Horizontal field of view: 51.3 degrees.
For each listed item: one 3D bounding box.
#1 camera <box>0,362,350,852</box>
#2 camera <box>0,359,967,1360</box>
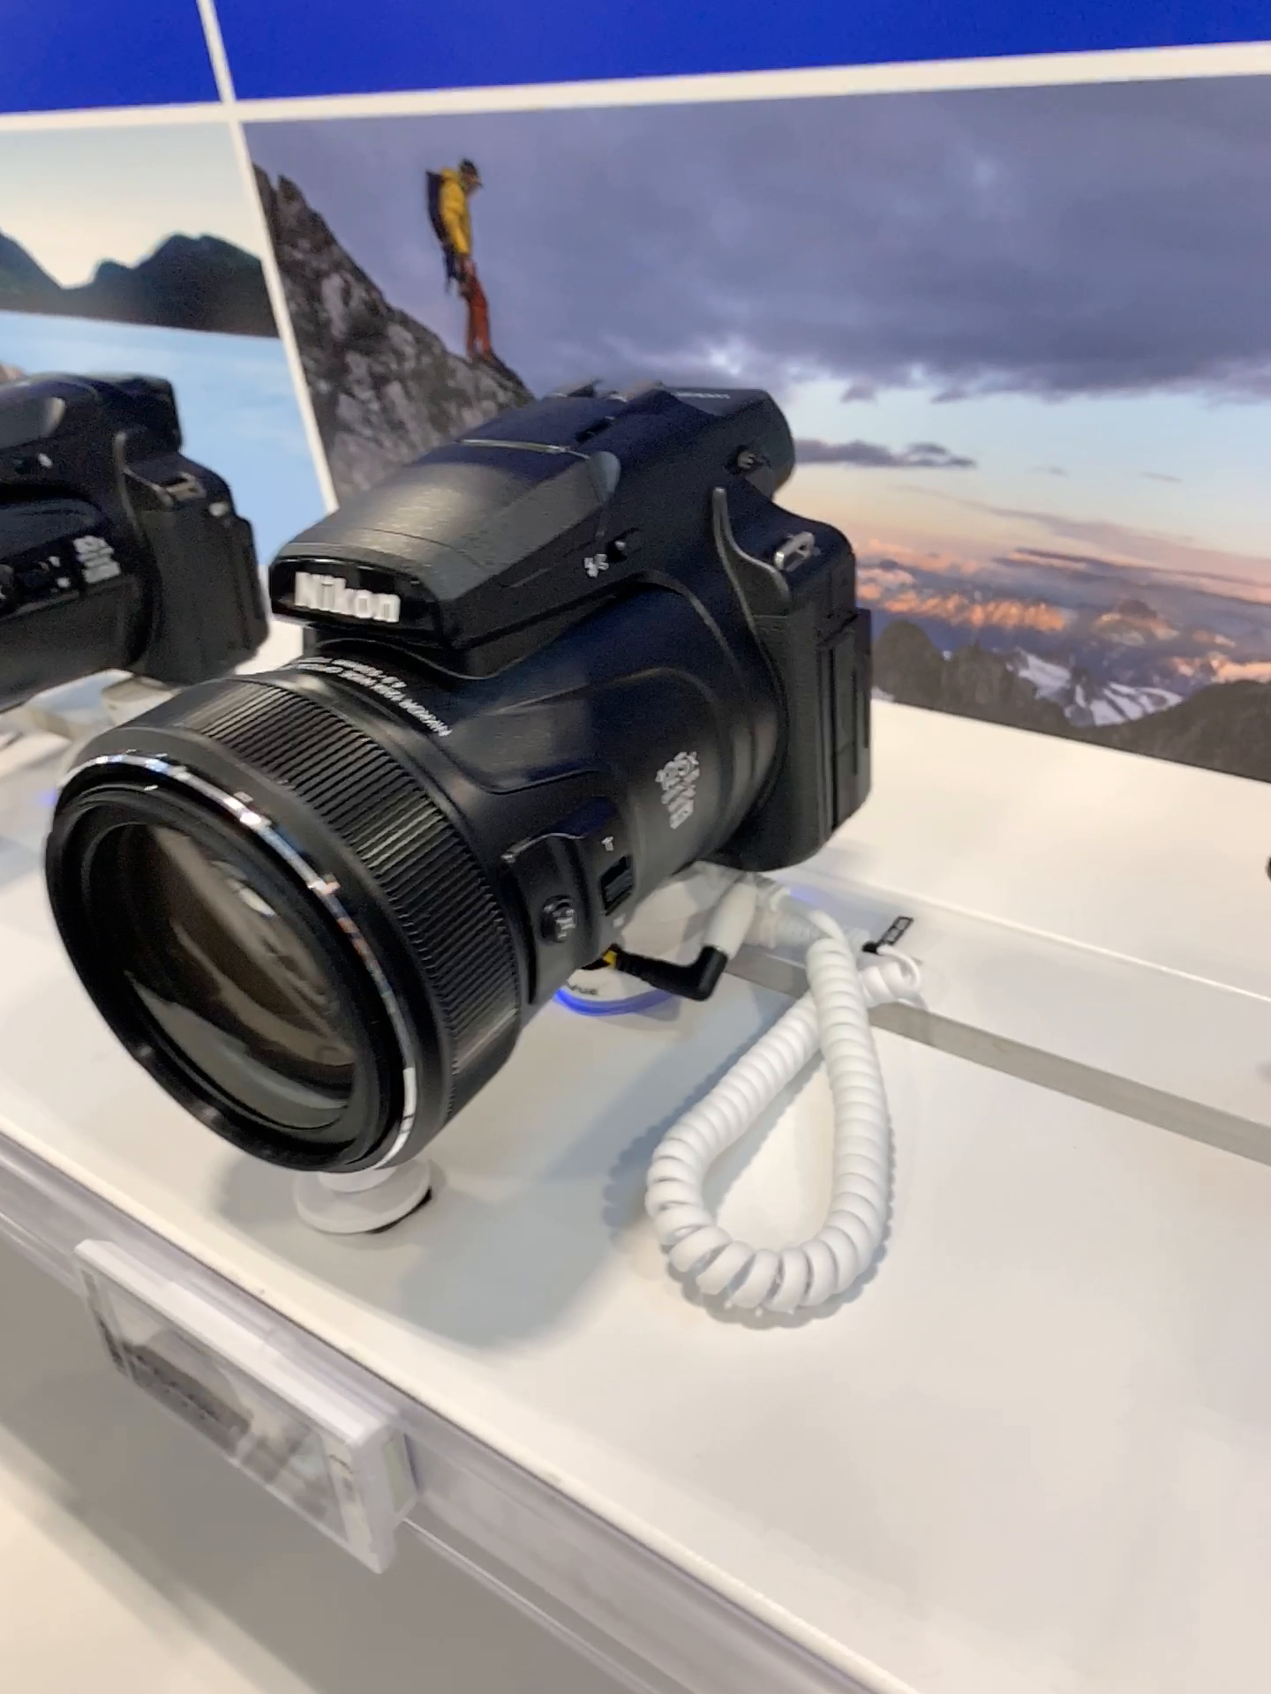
[{"bbox_3d":[-0.215,-0.094,0.447,0.160,0.099,0.150,16,35,32],"label":"camera"},{"bbox_3d":[-0.045,-0.032,0.307,0.160,0.109,0.221,16,35,31],"label":"camera"}]
